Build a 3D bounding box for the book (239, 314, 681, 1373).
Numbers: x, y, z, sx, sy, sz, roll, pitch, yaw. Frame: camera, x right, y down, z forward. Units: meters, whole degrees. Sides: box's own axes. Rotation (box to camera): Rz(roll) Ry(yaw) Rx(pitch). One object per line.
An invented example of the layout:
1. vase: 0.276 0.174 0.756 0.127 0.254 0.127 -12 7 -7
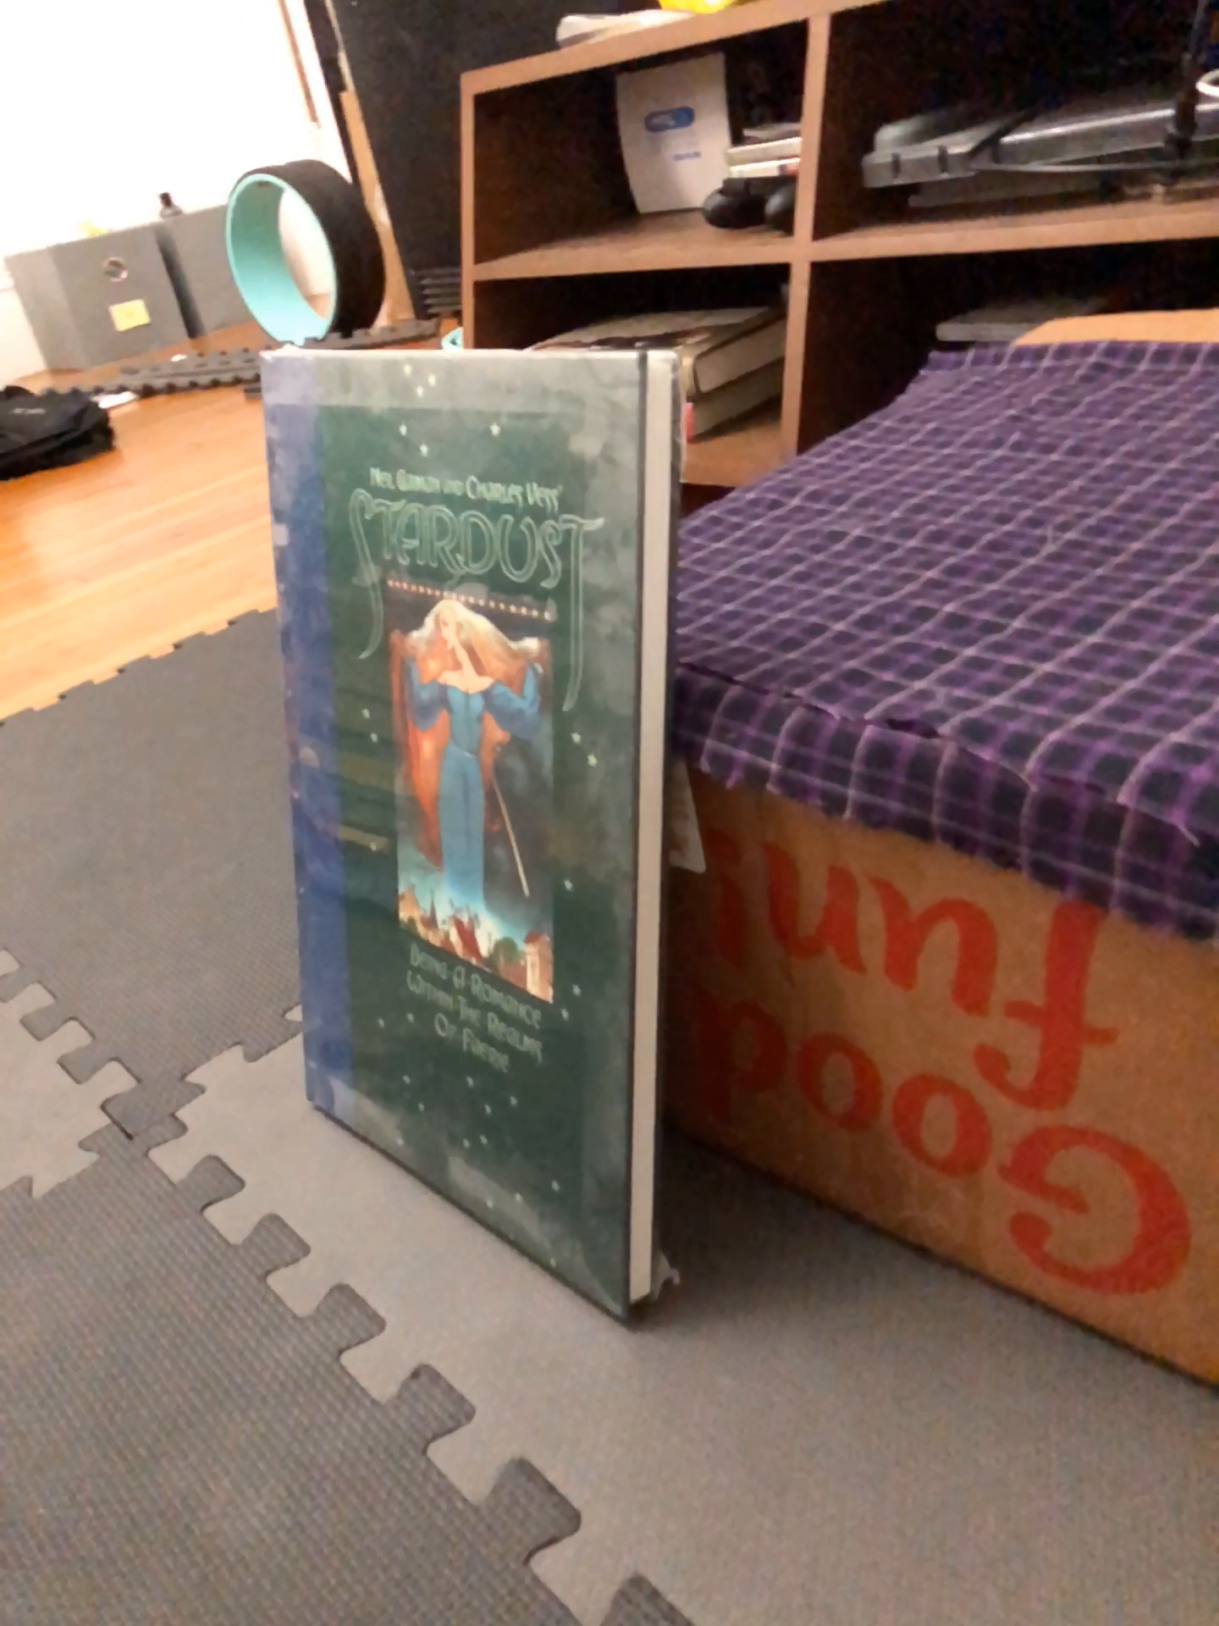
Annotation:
1. book: -0.060 0.003 0.477 0.020 0.329 0.211 -14 22 -41
